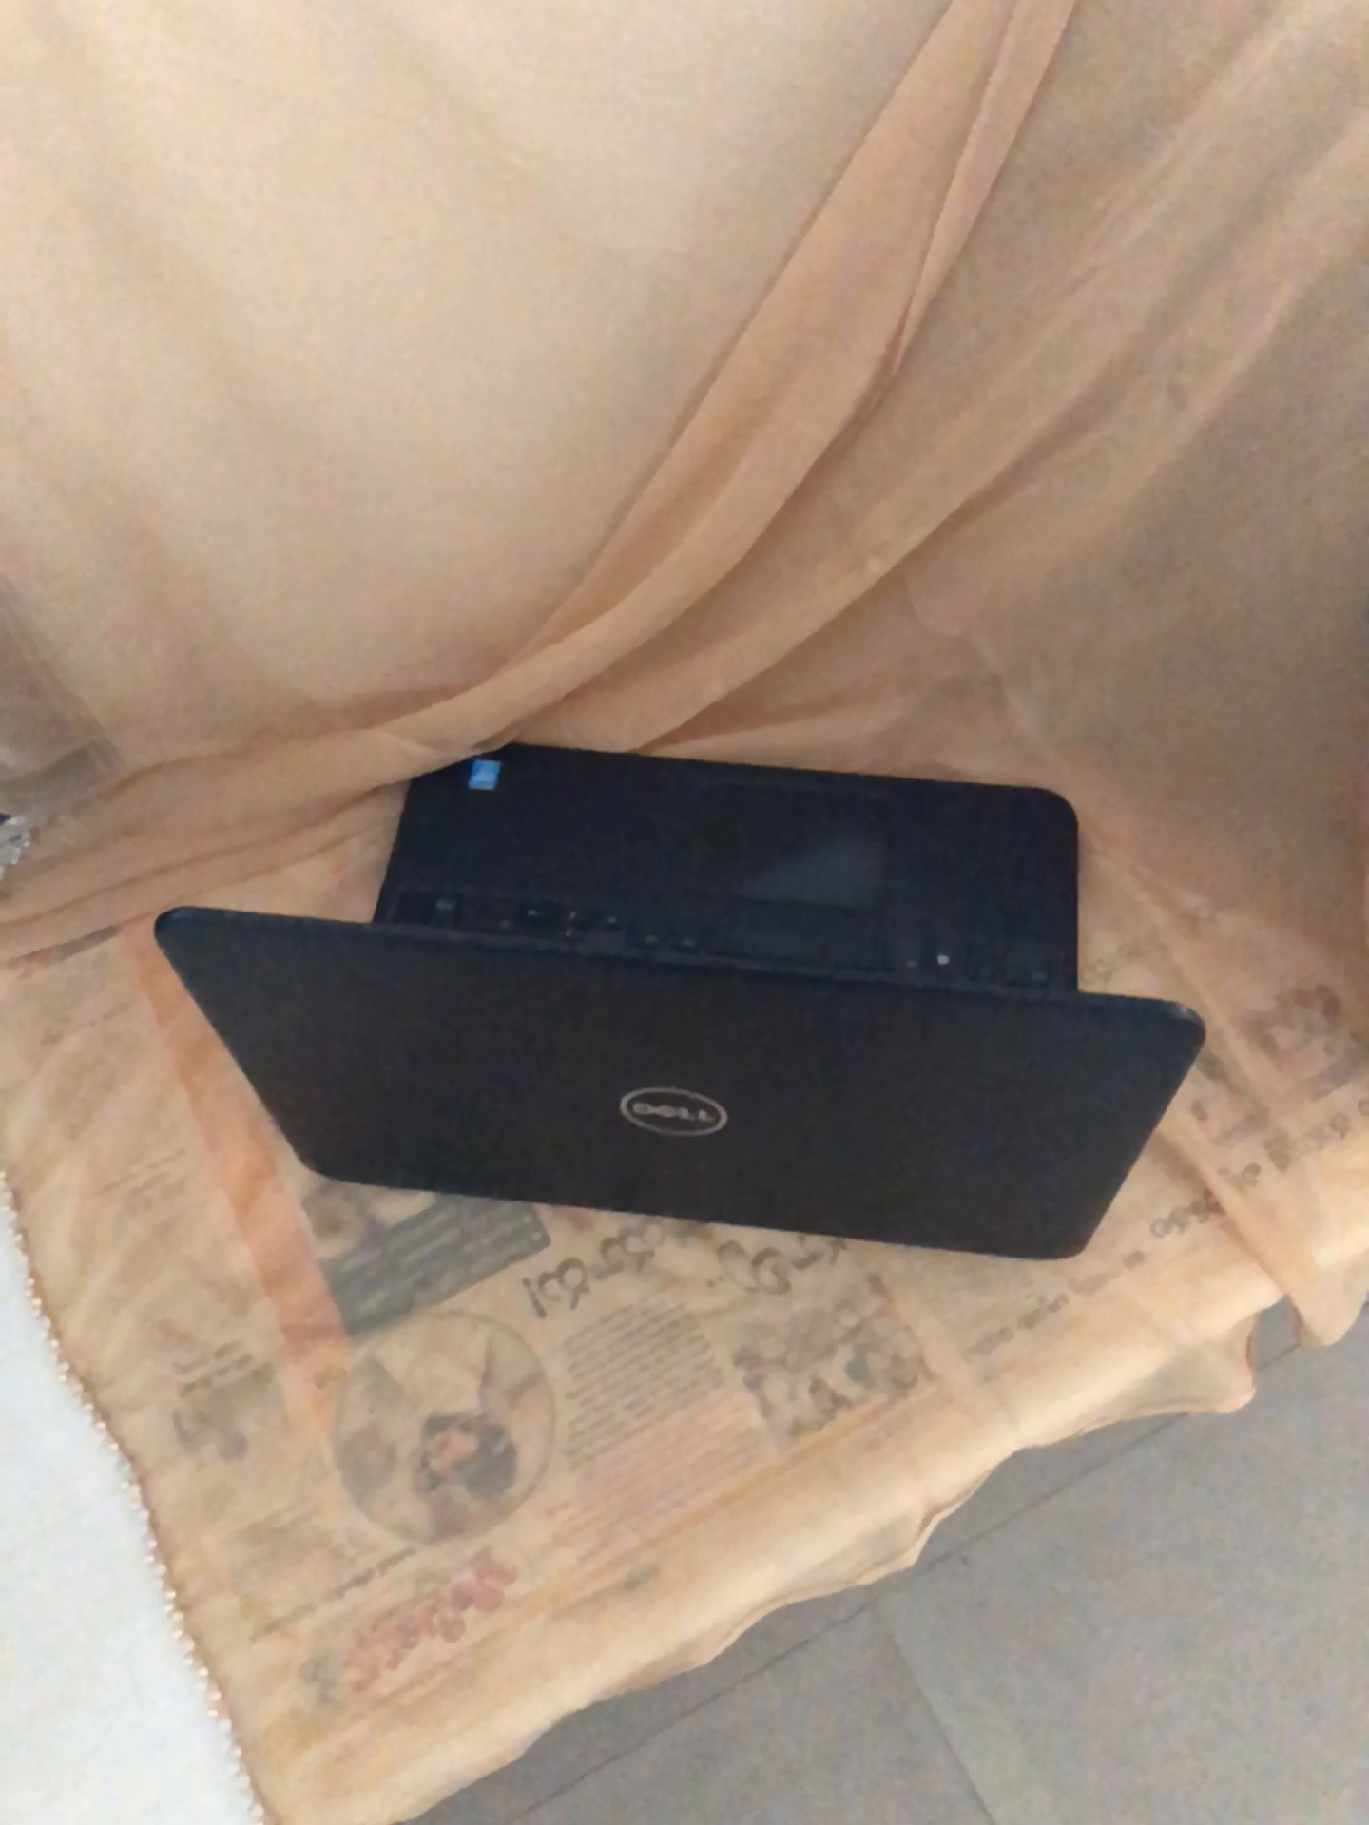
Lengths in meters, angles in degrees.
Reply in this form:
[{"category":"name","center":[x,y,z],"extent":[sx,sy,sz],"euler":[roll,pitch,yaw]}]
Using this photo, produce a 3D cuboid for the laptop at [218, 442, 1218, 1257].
[{"category":"laptop","center":[0.020,-0.024,0.671],"extent":[0.332,0.238,0.257],"euler":[5,59,6]}]
